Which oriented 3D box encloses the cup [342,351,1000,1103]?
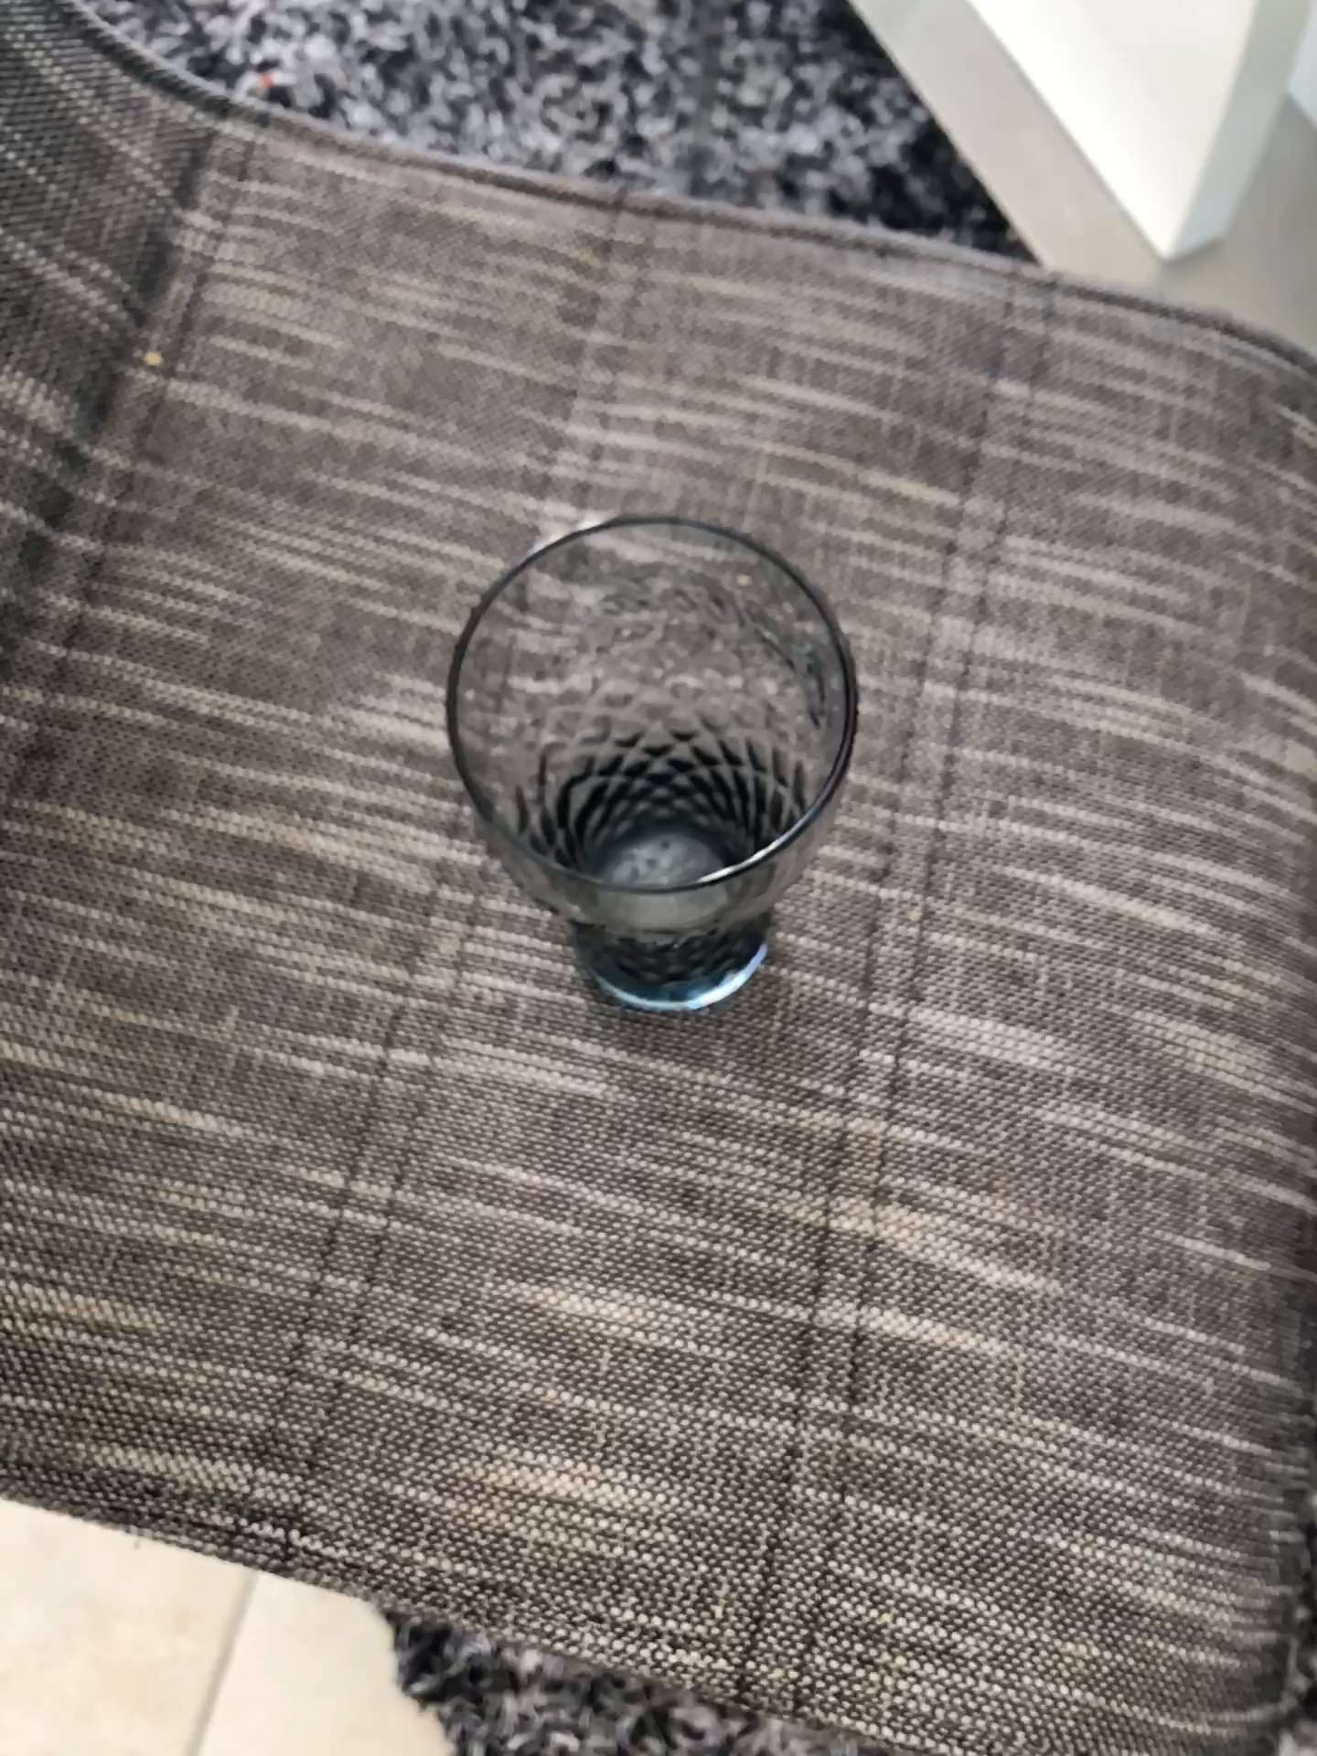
[{"bbox_3d":[0.005,-0.021,0.319,0.080,0.140,0.080,-1,70,2],"label":"cup"}]
